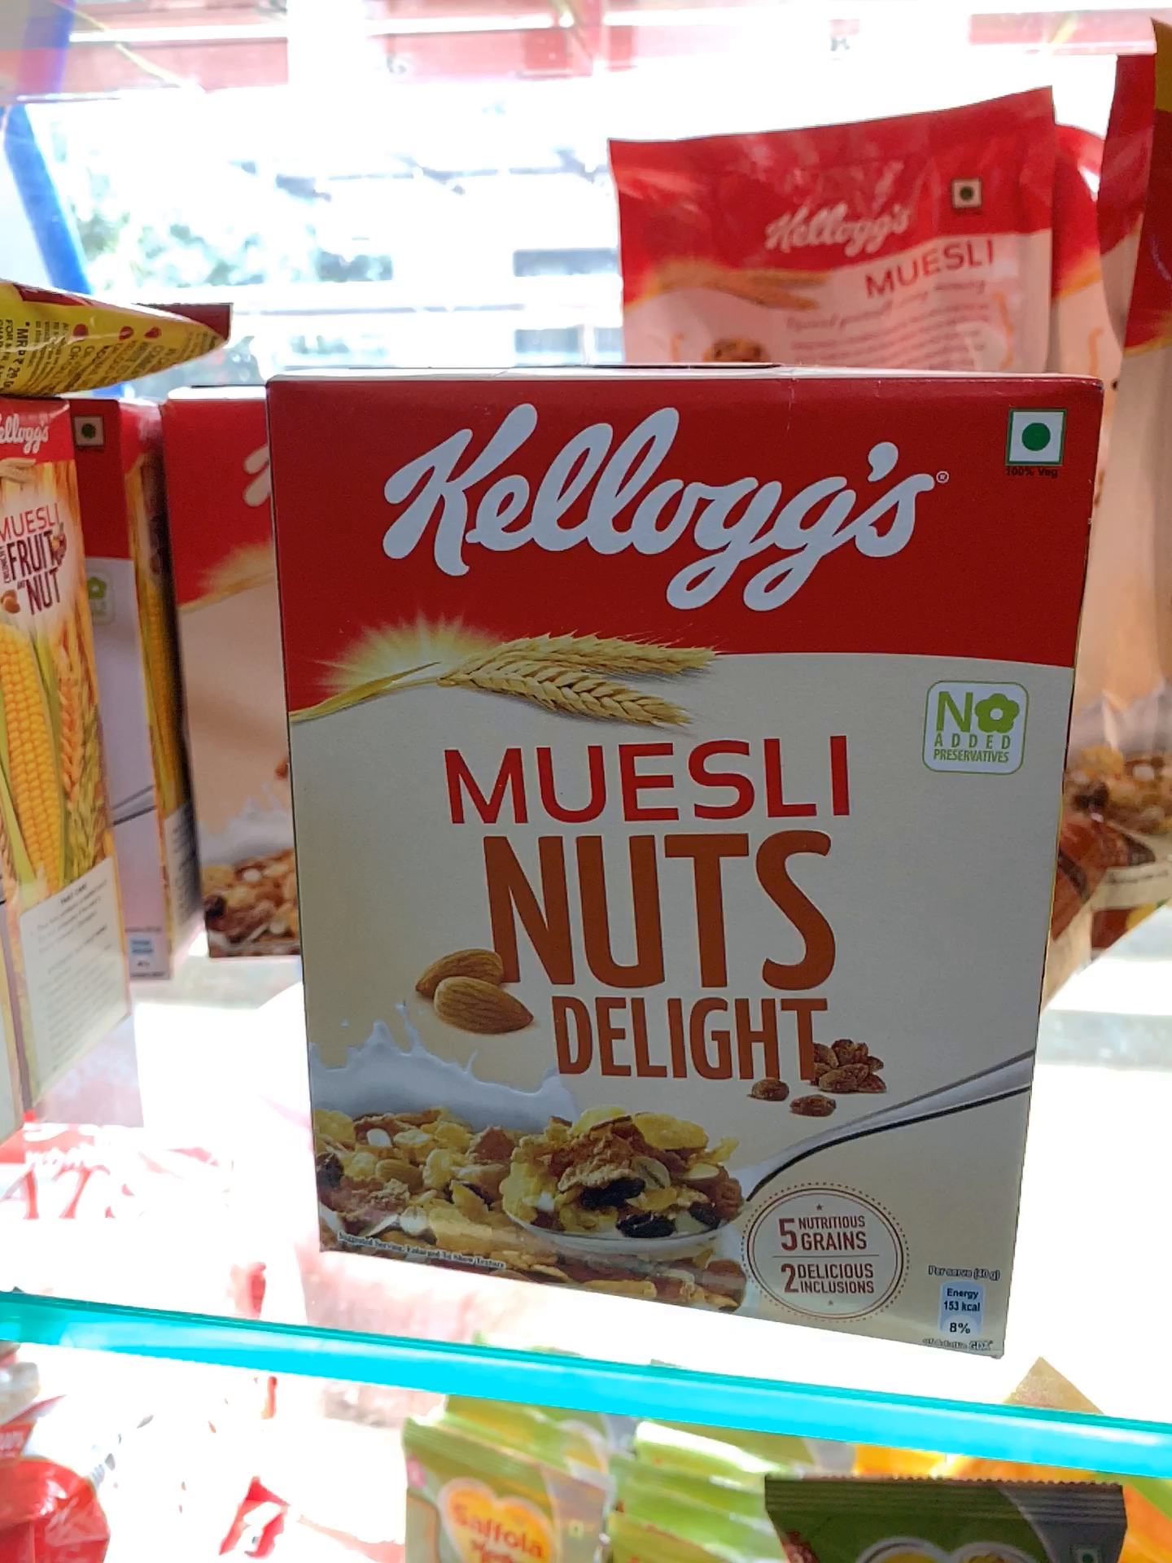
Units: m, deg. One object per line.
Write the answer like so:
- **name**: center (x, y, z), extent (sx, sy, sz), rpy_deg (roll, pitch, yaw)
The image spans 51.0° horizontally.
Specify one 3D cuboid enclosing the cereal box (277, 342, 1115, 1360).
- **cereal box**: center (0.018, 0.009, 0.233), extent (0.130, 0.169, 0.050), rpy_deg (4, 15, 14)
